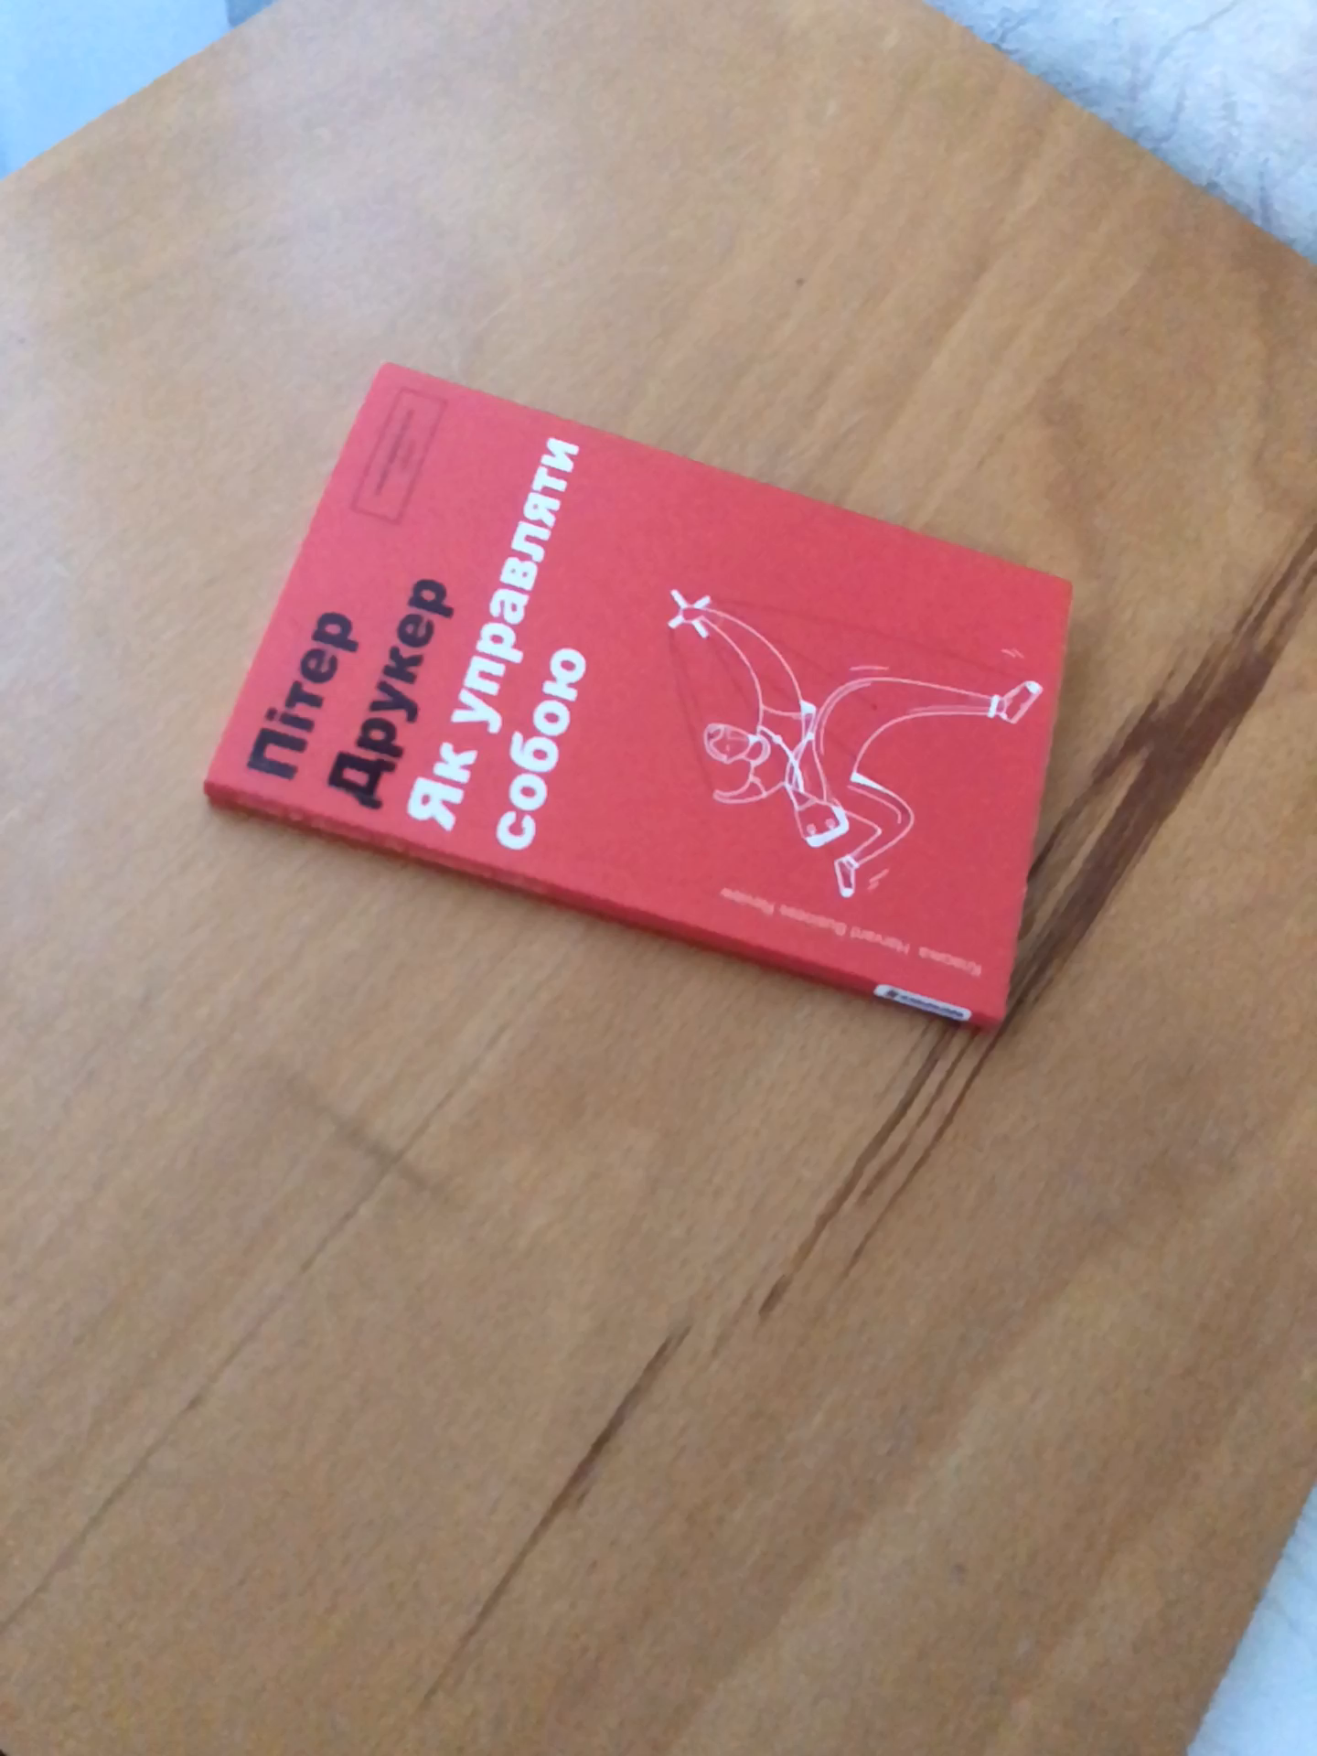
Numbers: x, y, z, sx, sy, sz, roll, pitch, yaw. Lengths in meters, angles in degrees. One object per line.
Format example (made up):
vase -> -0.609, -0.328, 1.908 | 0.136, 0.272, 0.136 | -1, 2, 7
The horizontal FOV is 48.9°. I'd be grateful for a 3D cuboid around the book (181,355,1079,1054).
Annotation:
book -> 0.001, -0.040, 0.305 | 0.164, 0.013, 0.112 | 17, 67, -2
